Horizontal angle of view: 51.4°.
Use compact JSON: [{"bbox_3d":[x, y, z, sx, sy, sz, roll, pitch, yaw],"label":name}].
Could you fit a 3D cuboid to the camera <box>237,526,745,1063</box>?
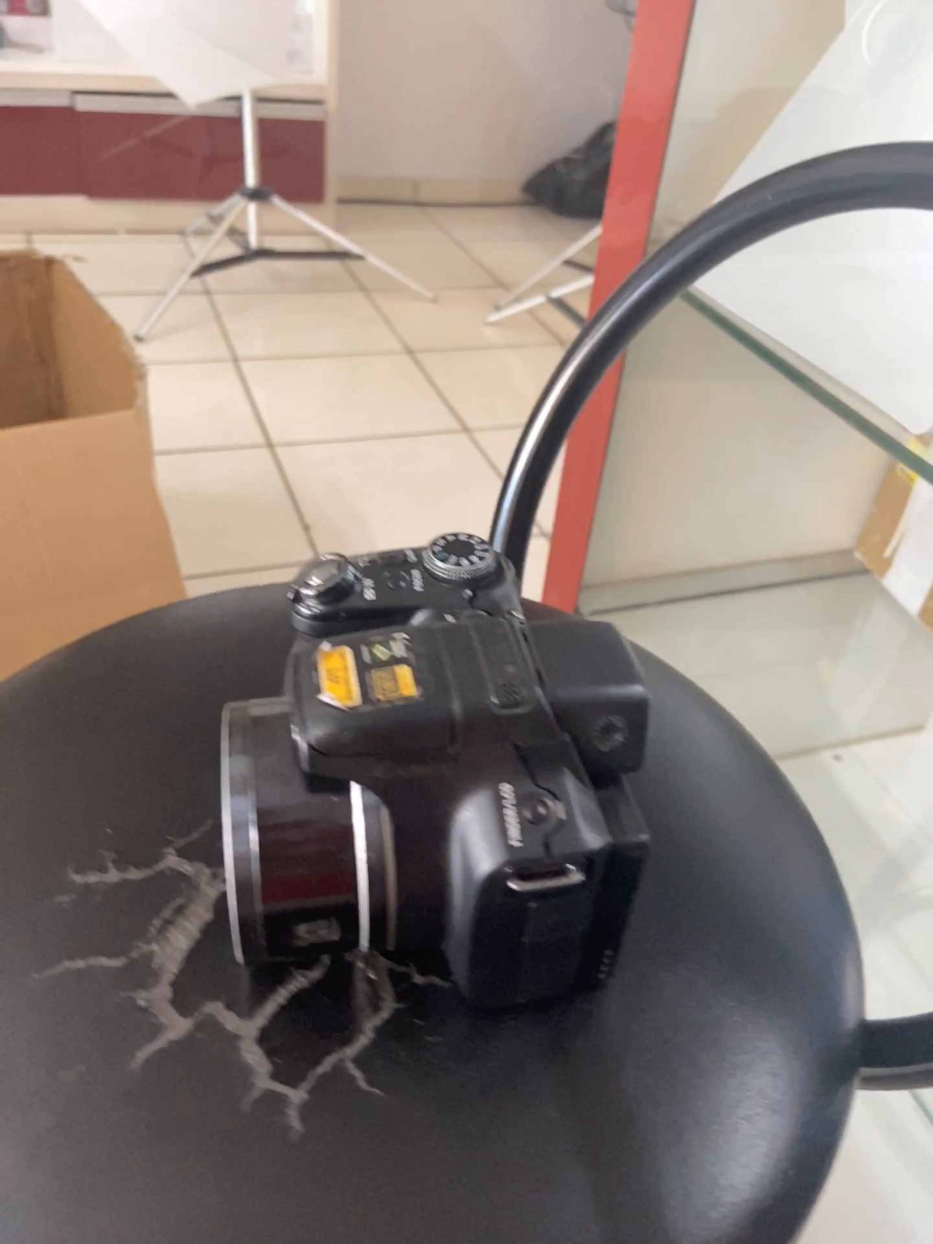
[{"bbox_3d":[-0.005,0.037,0.249,0.100,0.079,0.101,-3,37,-12],"label":"camera"}]
